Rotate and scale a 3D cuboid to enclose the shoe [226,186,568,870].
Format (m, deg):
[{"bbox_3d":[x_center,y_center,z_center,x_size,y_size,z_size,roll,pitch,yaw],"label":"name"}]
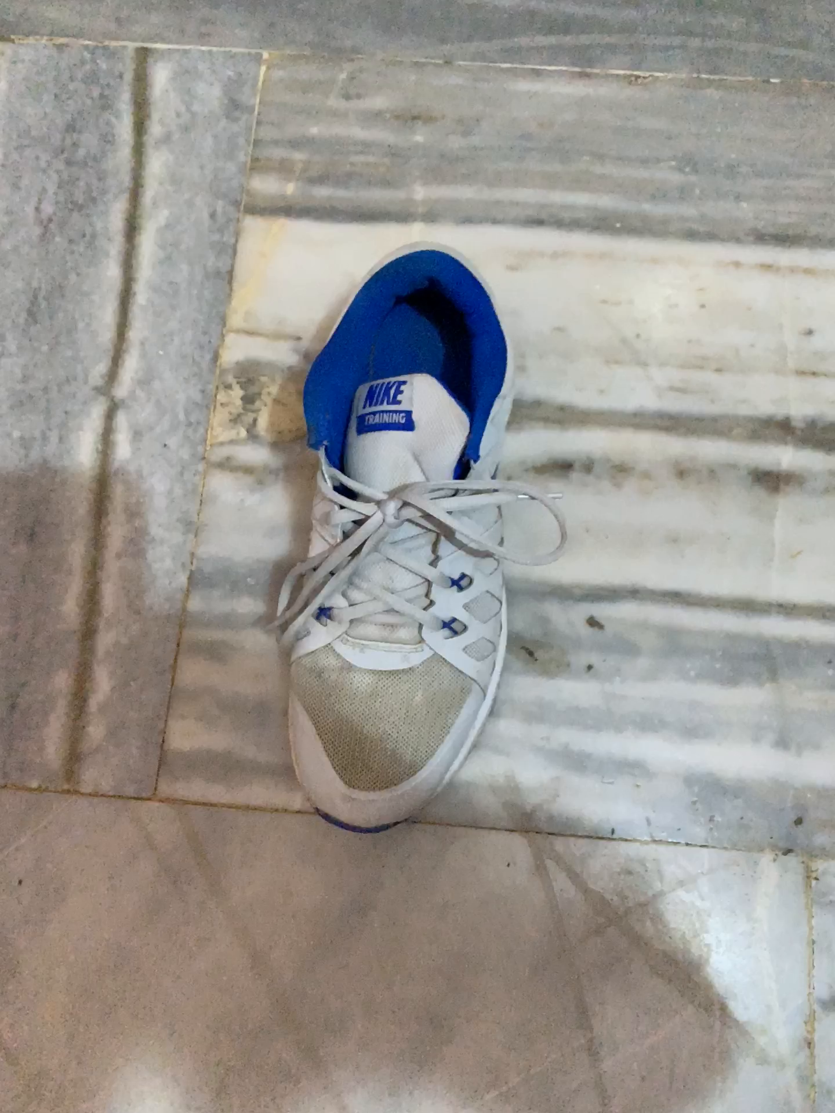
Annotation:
[{"bbox_3d":[-0.003,-0.015,0.429,0.116,0.100,0.300,6,78,2],"label":"shoe"}]
